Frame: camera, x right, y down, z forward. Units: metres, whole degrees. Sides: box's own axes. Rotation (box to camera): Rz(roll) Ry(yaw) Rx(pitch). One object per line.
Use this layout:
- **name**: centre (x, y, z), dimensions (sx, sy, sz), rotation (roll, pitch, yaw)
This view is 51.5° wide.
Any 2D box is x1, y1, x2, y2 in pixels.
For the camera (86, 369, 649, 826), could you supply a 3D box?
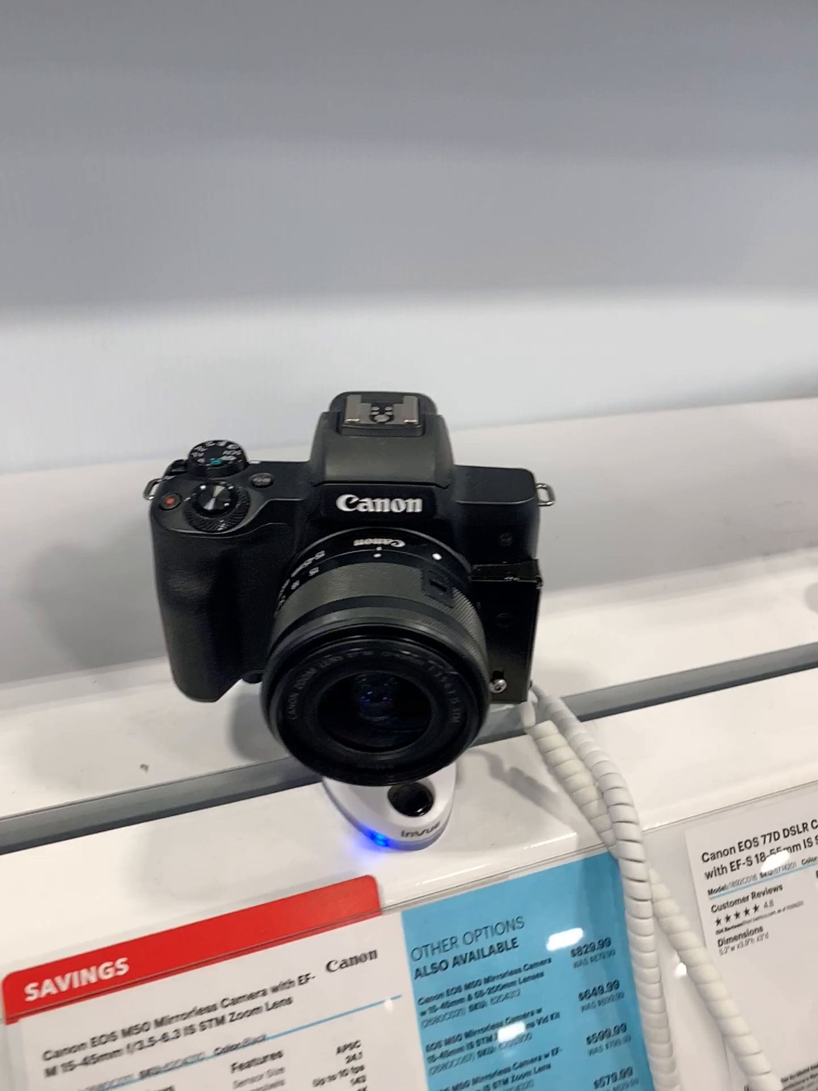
- **camera**: centre (-0.014, 0.009, 0.249), dimensions (0.121, 0.080, 0.111), rotation (0, 34, -6)
